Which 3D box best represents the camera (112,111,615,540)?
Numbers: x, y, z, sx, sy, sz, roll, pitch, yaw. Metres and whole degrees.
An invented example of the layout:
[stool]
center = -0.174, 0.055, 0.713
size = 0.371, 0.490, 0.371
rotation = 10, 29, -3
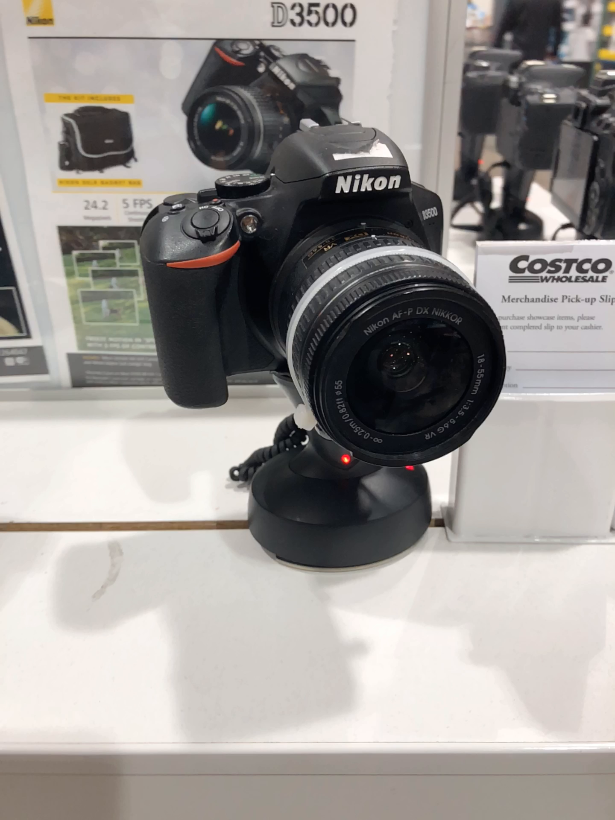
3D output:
[camera]
center = 0.011, -0.043, 0.246
size = 0.140, 0.100, 0.121
rotation = -8, 29, -12
